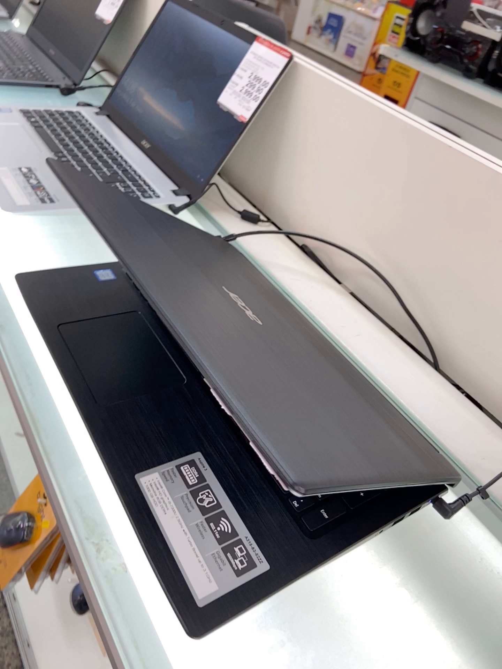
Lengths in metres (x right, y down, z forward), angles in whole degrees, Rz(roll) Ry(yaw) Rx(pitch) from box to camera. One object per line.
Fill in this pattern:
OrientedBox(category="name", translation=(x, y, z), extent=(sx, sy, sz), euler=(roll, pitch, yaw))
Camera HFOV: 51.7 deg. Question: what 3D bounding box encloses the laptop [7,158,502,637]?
OrientedBox(category="laptop", translation=(-0.025, -0.012, 0.436), extent=(0.237, 0.118, 0.382), euler=(-13, 46, -33))
